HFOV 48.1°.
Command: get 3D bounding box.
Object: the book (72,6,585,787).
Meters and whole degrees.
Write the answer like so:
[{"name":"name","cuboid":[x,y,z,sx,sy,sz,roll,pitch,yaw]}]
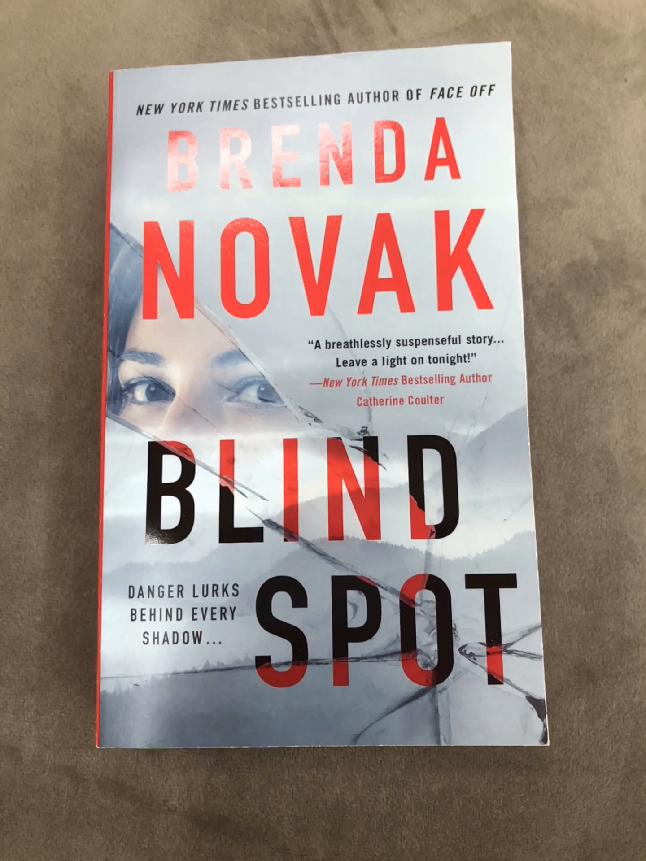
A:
[{"name":"book","cuboid":[-0.001,-0.009,0.205,0.120,0.050,0.190,-2,82,7]}]
